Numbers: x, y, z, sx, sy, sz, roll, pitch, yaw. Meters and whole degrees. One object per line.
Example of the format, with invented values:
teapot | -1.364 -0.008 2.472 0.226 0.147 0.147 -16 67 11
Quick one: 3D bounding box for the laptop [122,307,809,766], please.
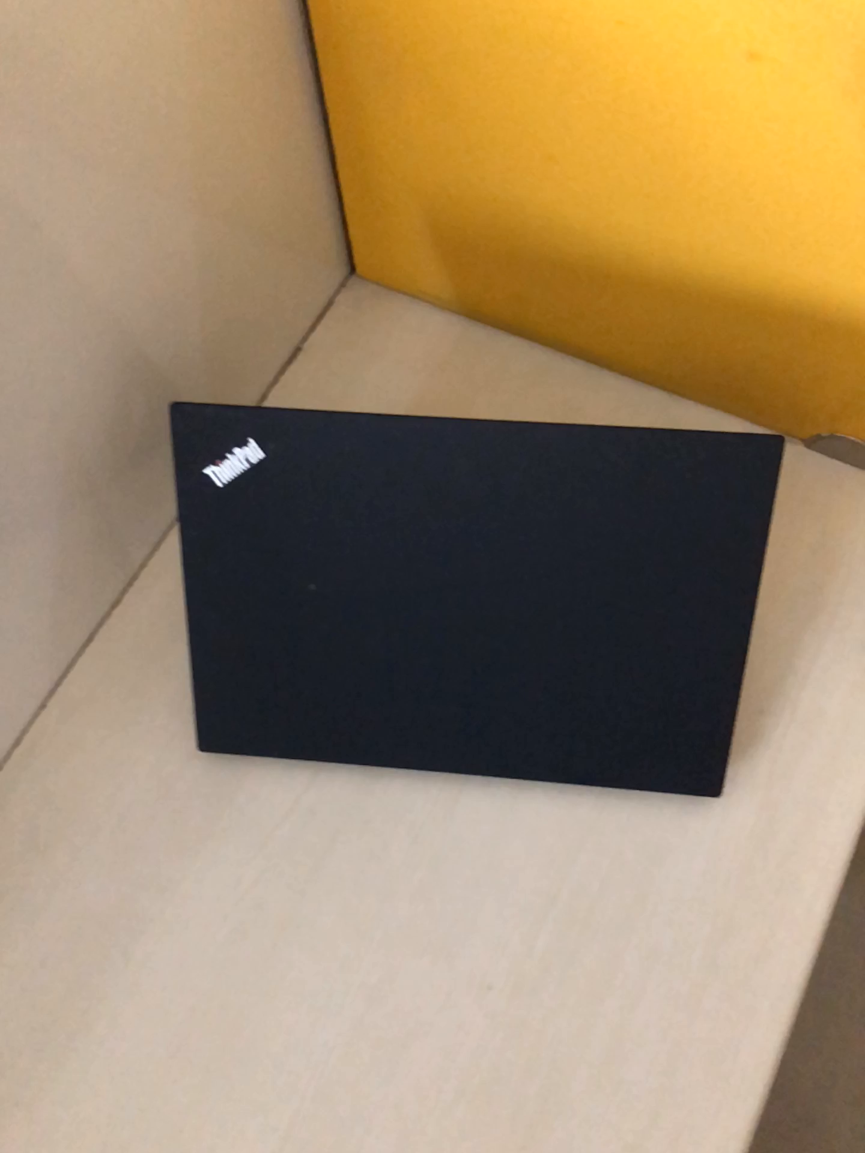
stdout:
laptop | 0.024 -0.027 0.619 0.349 0.166 0.241 3 62 6
